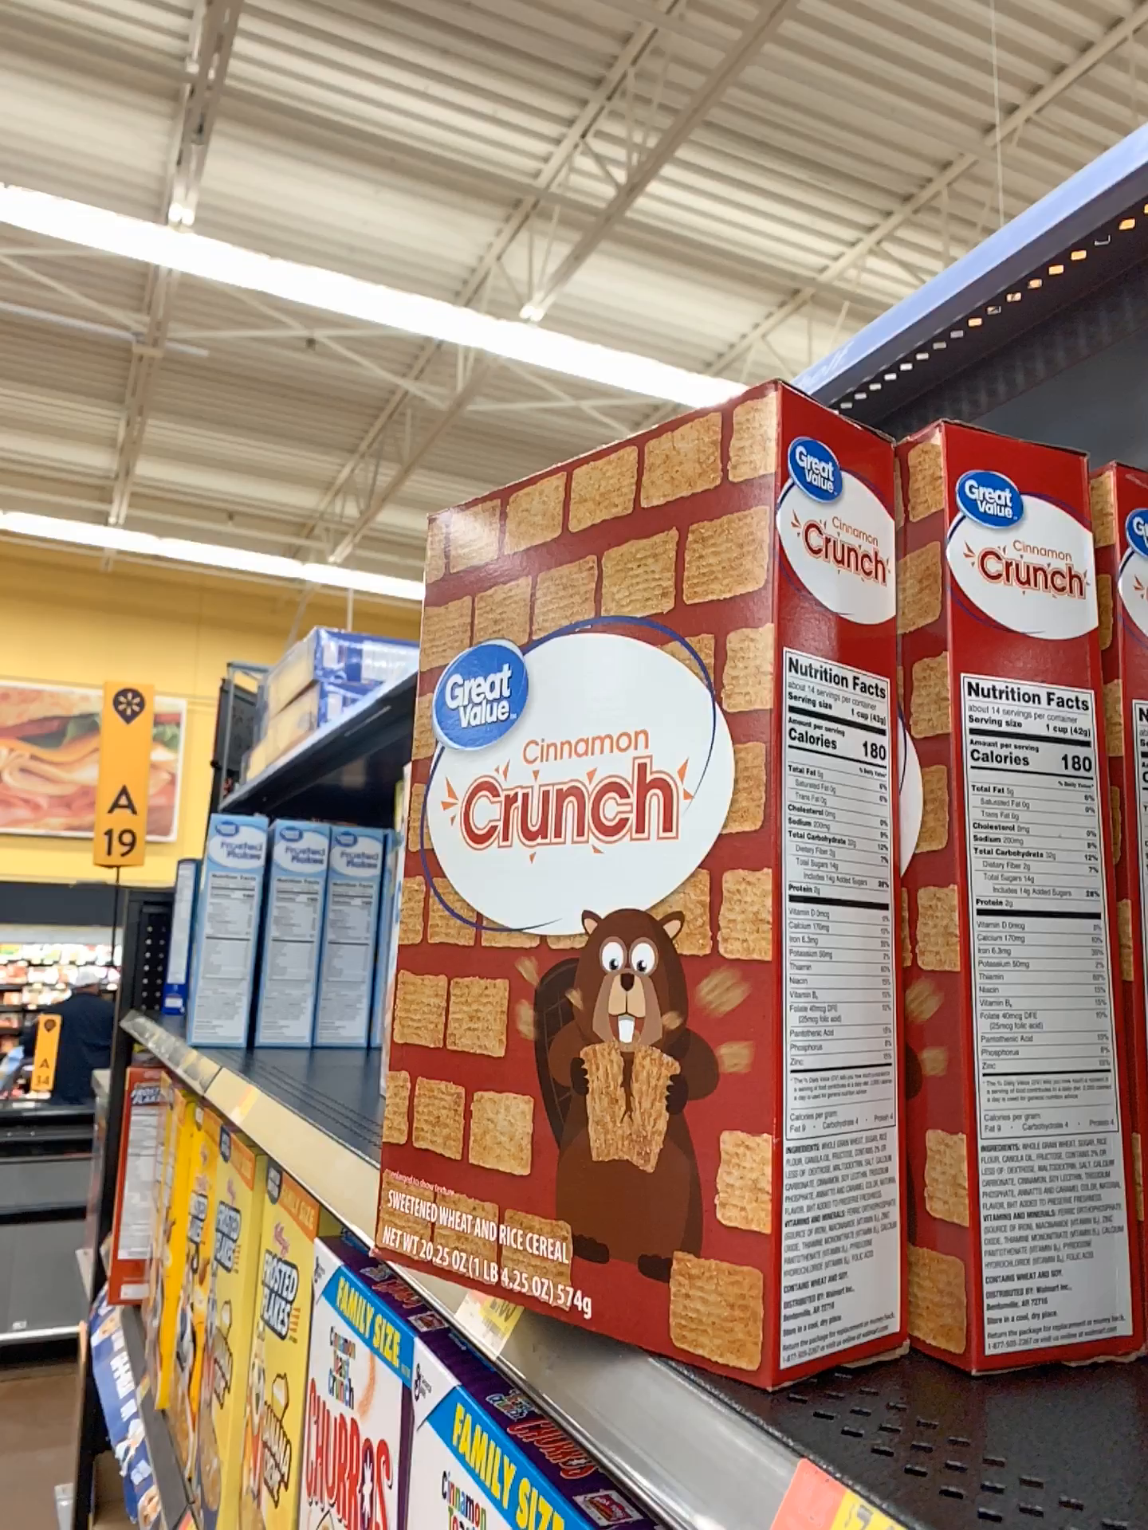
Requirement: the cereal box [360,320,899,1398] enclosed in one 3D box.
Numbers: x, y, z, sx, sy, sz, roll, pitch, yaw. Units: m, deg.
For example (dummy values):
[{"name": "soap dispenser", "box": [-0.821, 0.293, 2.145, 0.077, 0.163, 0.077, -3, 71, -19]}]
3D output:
[{"name": "cereal box", "box": [0.019, 0.028, 0.451, 0.190, 0.331, 0.070, -6, -14, 43]}]
